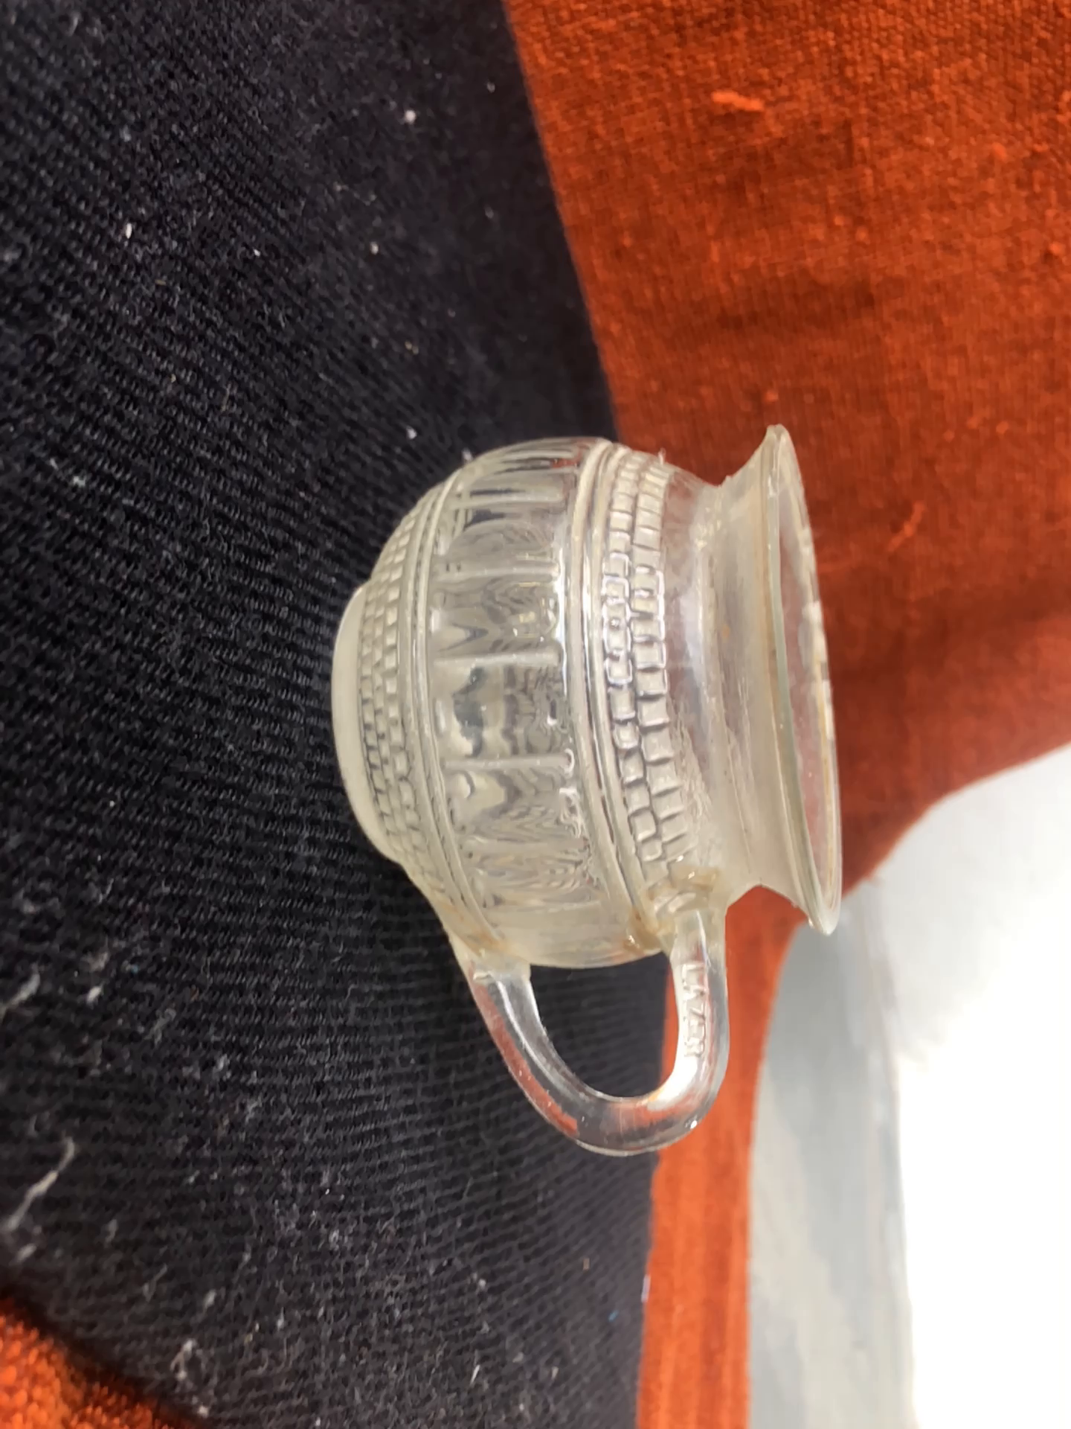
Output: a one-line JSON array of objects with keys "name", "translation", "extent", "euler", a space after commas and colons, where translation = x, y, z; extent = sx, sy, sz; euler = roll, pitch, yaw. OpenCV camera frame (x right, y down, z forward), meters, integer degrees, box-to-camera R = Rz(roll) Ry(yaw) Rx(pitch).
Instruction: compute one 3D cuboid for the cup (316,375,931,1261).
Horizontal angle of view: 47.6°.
[{"name": "cup", "translation": [0.018, 0.013, 0.165], "extent": [0.070, 0.060, 0.090], "euler": [2, 83, -73]}]
